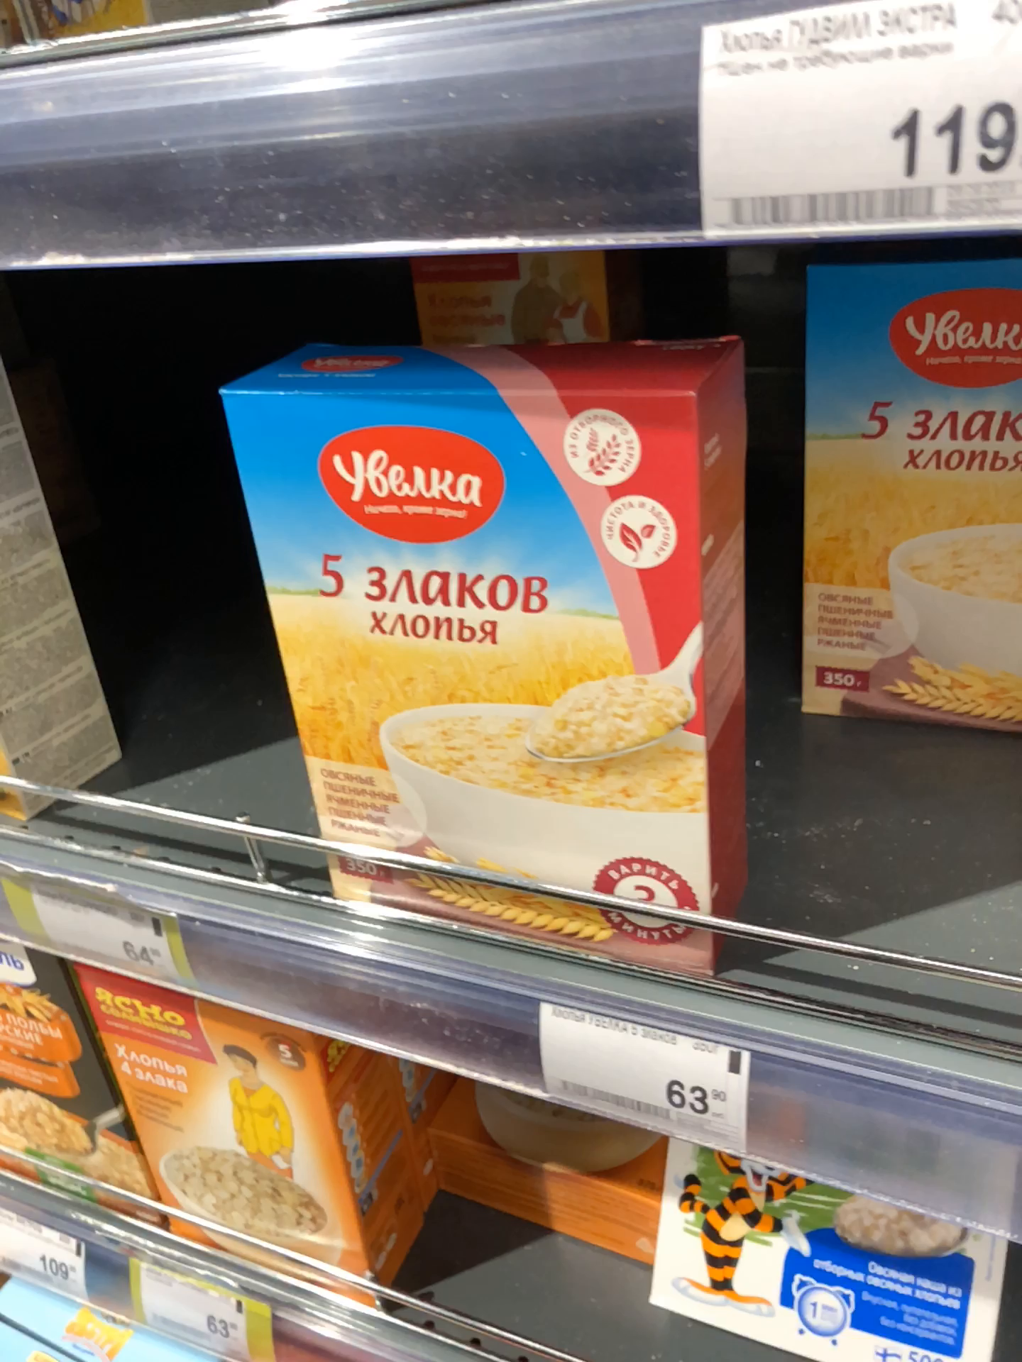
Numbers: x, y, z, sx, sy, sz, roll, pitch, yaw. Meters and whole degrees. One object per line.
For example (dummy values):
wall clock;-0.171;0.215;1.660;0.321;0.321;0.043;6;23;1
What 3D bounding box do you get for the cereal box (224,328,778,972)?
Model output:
cereal box;0.004;-0.011;0.365;0.150;0.189;0.050;7;30;23
